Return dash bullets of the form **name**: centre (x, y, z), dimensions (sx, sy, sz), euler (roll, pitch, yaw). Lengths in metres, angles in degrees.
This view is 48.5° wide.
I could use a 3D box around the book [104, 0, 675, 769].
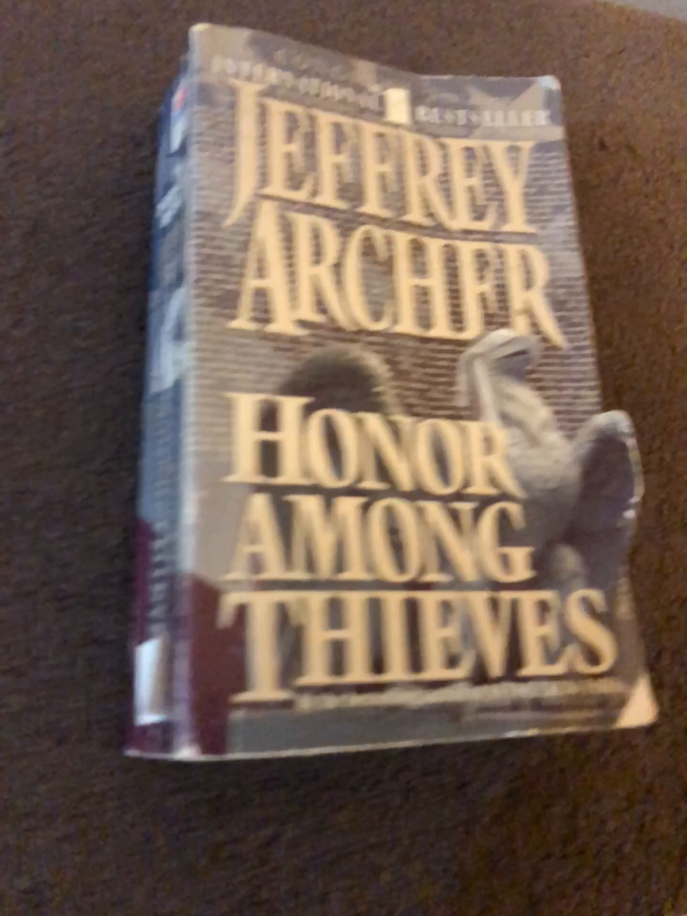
- **book**: centre (0.008, -0.027, 0.197), dimensions (0.121, 0.040, 0.190), euler (5, 71, -21)
